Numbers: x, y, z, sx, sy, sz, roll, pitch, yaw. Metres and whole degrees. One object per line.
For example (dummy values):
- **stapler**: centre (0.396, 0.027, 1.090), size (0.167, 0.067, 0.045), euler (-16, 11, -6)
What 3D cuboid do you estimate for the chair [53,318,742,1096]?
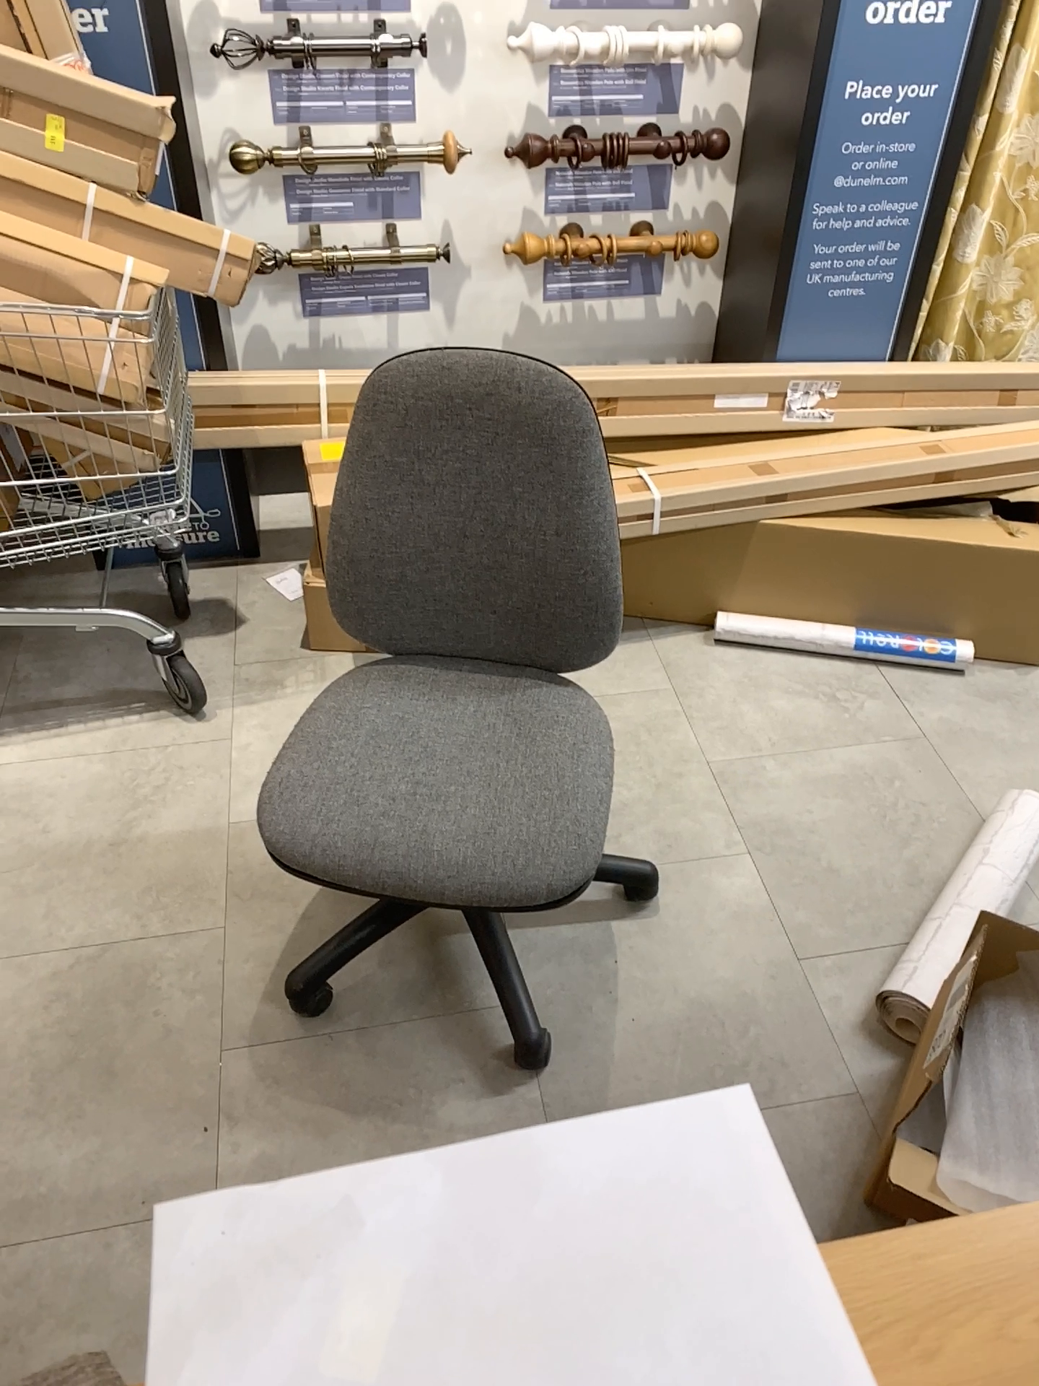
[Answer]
- **chair**: centre (-0.079, 0.009, 1.416), size (0.627, 0.750, 0.629), euler (6, 41, 6)
